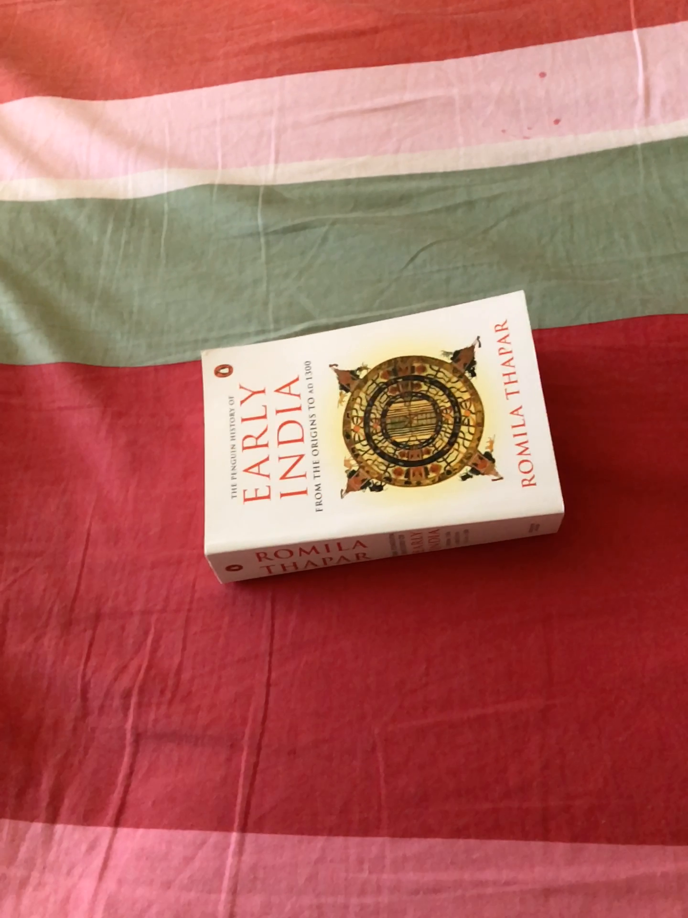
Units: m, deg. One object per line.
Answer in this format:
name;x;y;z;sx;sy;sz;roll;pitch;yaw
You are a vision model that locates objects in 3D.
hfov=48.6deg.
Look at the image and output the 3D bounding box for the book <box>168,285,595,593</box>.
book;0.014;-0.011;0.421;0.200;0.070;0.120;-9;61;-1
